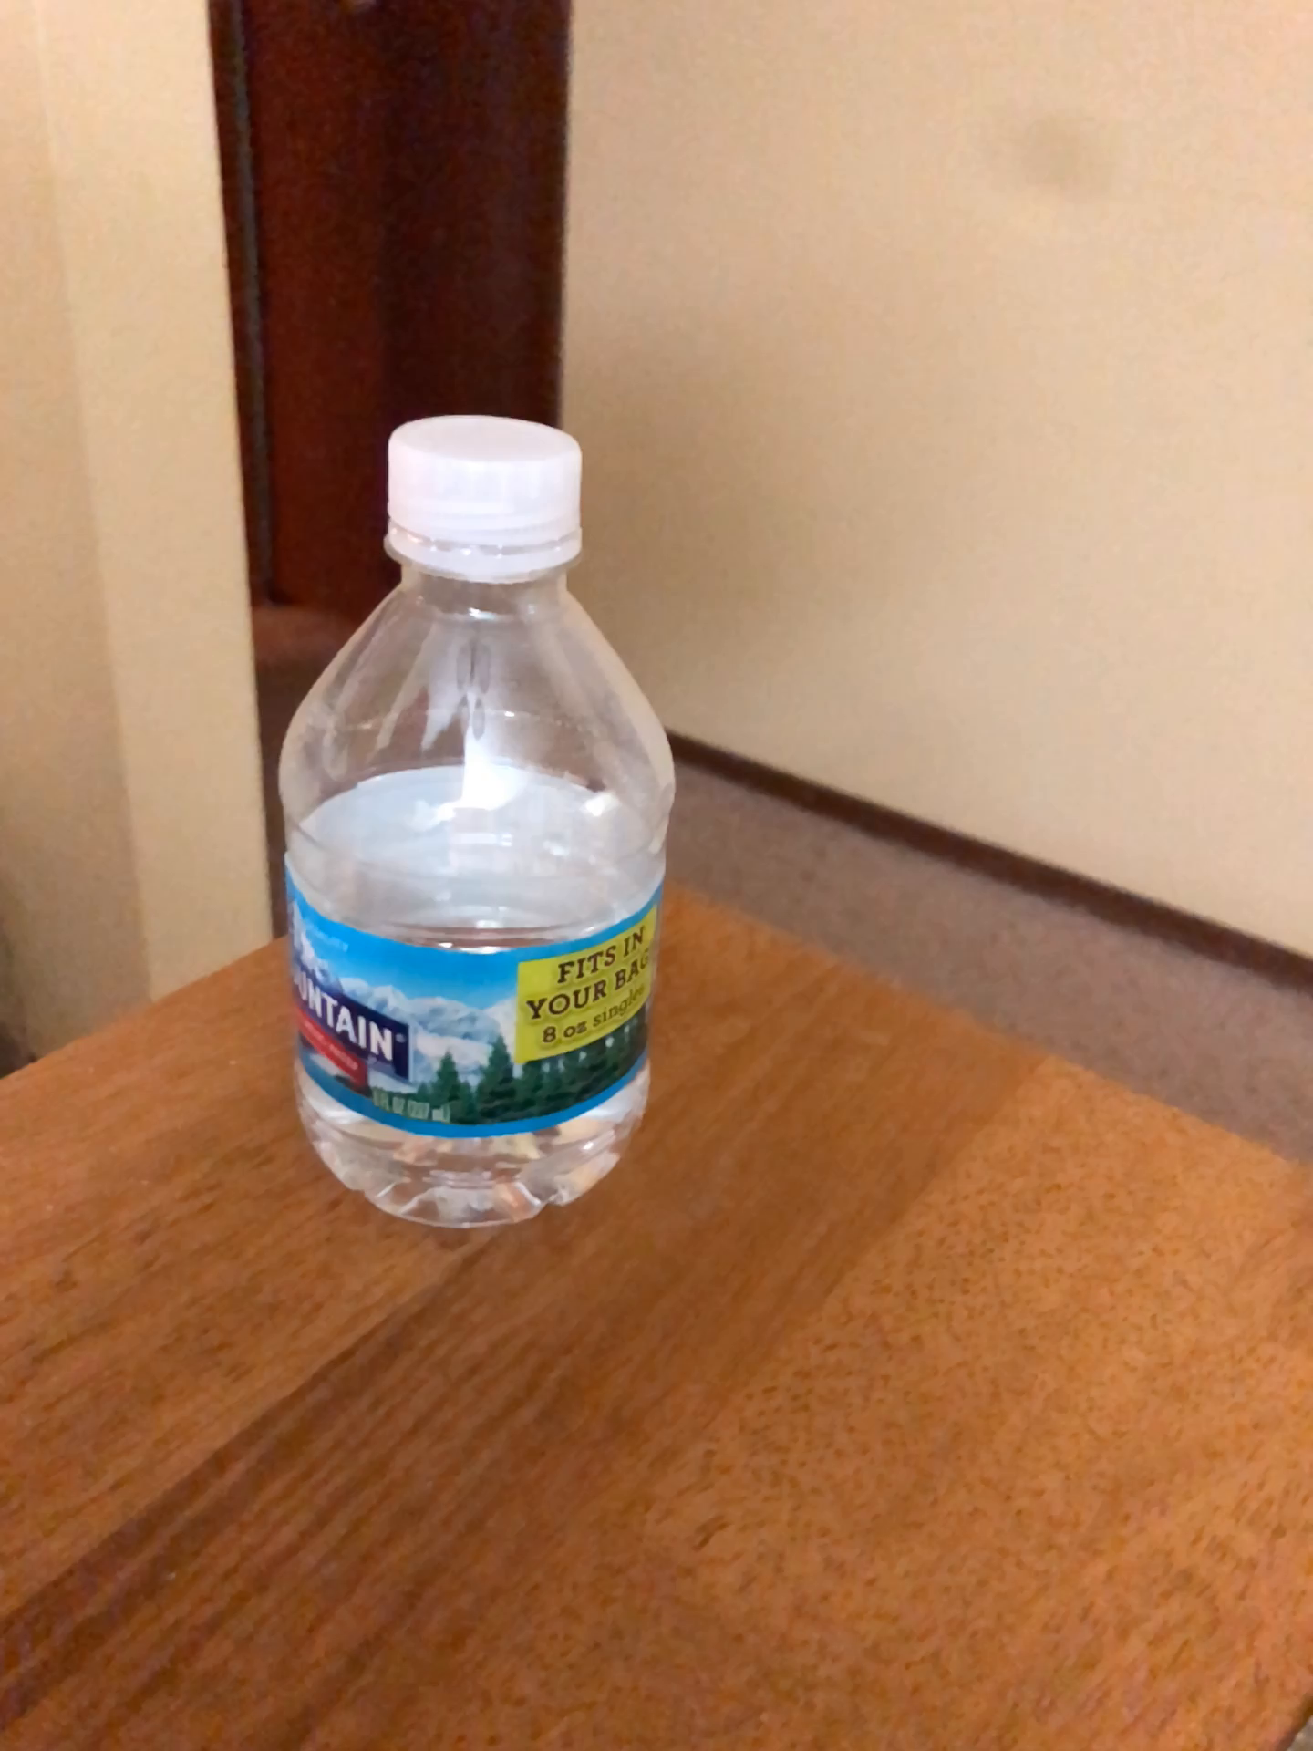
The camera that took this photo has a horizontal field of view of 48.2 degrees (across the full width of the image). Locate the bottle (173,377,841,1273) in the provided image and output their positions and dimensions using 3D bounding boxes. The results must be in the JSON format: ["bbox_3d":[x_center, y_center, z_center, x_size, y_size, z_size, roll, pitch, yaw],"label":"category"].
[{"bbox_3d":[-0.027,-0.013,0.228,0.070,0.110,0.070,3,29,-2],"label":"bottle"}]
